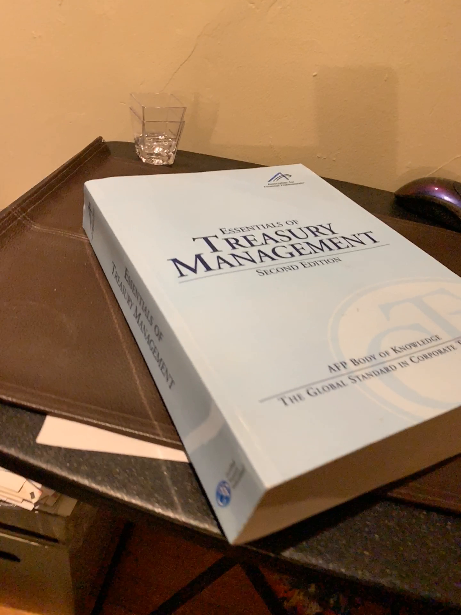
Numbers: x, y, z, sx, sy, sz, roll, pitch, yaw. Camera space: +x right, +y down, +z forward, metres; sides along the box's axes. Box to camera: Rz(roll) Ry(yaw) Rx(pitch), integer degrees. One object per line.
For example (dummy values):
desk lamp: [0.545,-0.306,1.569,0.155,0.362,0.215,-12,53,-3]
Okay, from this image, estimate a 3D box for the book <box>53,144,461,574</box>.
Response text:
book: [0.024,-0.023,0.326,0.220,0.060,0.301,-11,43,-25]
